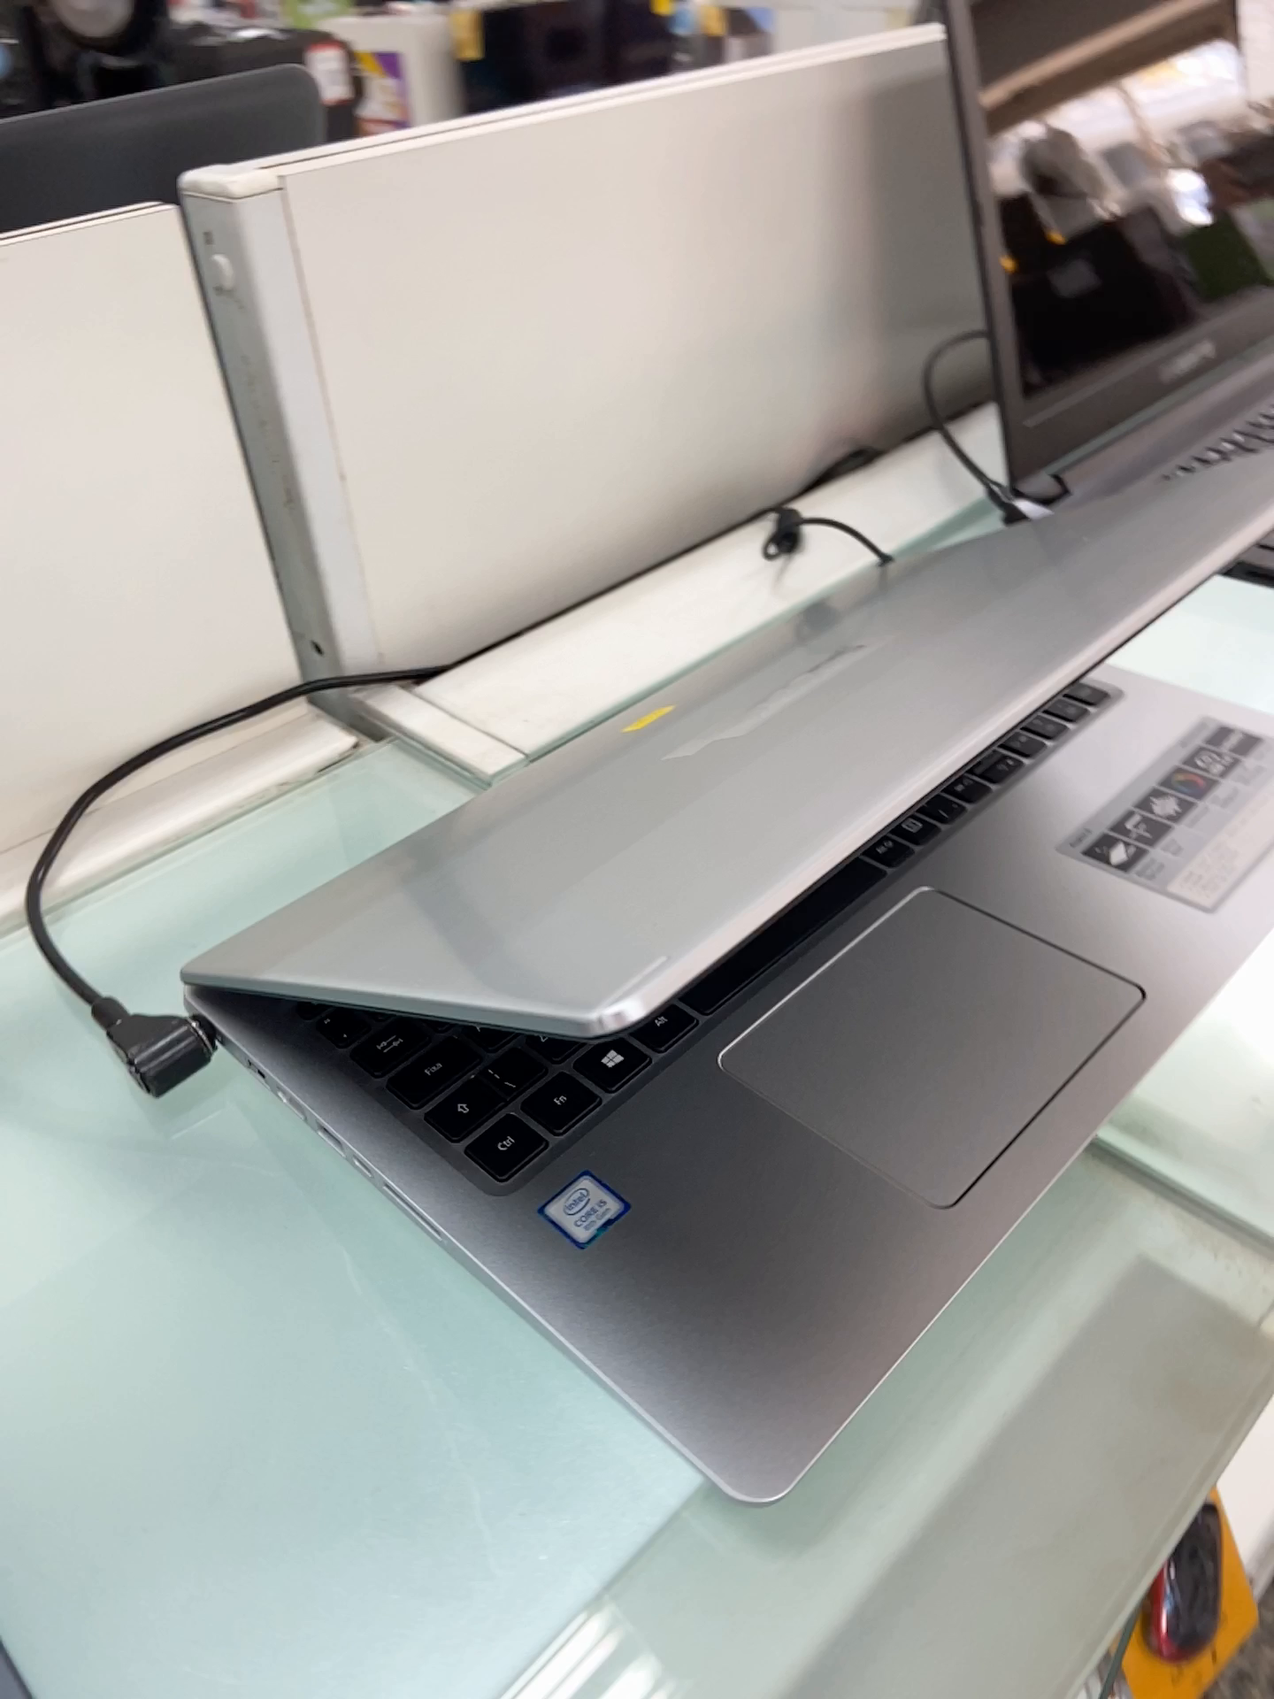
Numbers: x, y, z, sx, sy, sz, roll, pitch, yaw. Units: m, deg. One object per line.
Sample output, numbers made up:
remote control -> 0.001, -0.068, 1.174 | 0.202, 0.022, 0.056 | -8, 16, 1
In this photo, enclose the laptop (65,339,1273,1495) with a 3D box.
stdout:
laptop -> 0.061, -0.042, 0.419 | 0.246, 0.116, 0.365 | 26, 46, 36
